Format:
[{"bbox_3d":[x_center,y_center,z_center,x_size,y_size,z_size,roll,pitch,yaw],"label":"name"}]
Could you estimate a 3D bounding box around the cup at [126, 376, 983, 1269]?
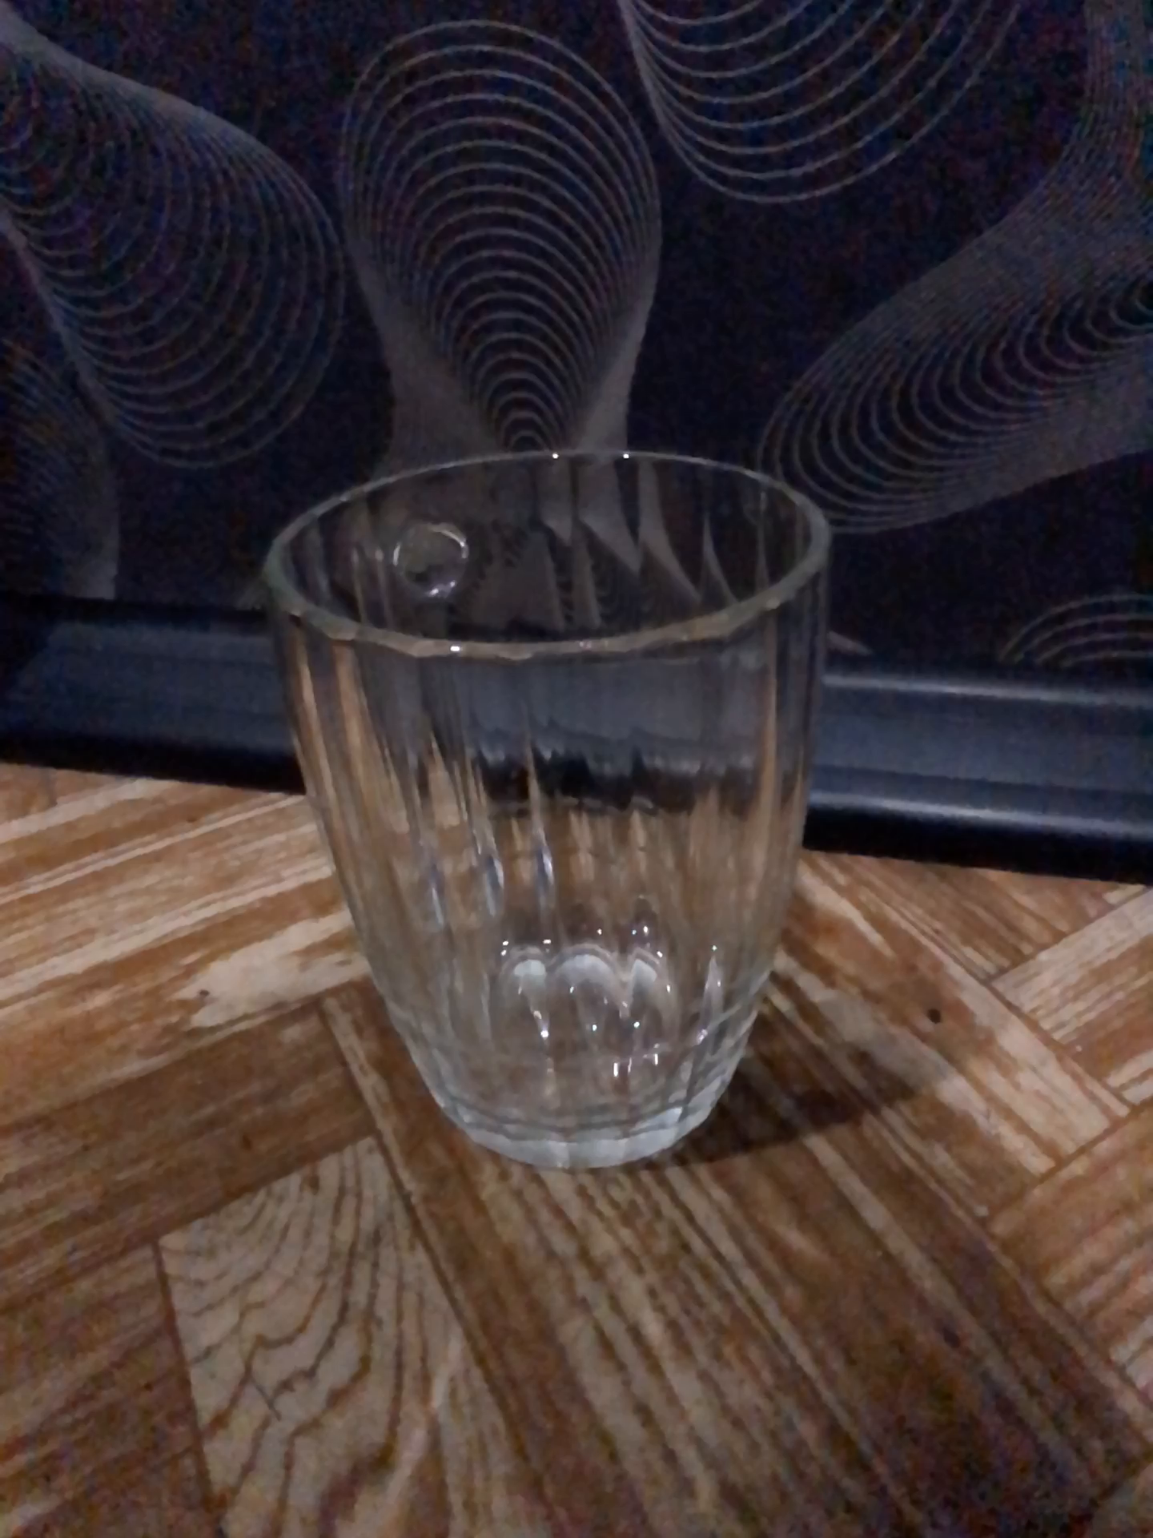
[{"bbox_3d":[-0.011,-0.005,0.256,0.114,0.107,0.126,-16,31,-20],"label":"cup"}]
